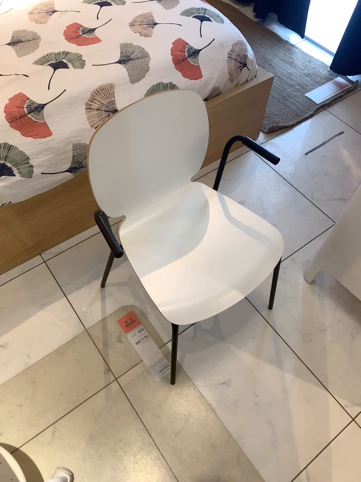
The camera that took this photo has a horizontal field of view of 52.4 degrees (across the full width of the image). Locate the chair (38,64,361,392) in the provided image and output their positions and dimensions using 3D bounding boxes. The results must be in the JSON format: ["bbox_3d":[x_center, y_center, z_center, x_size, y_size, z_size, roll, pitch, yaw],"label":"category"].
[{"bbox_3d":[0.035,-0.003,1.146,0.550,0.698,0.541,-31,63,-20],"label":"chair"}]
